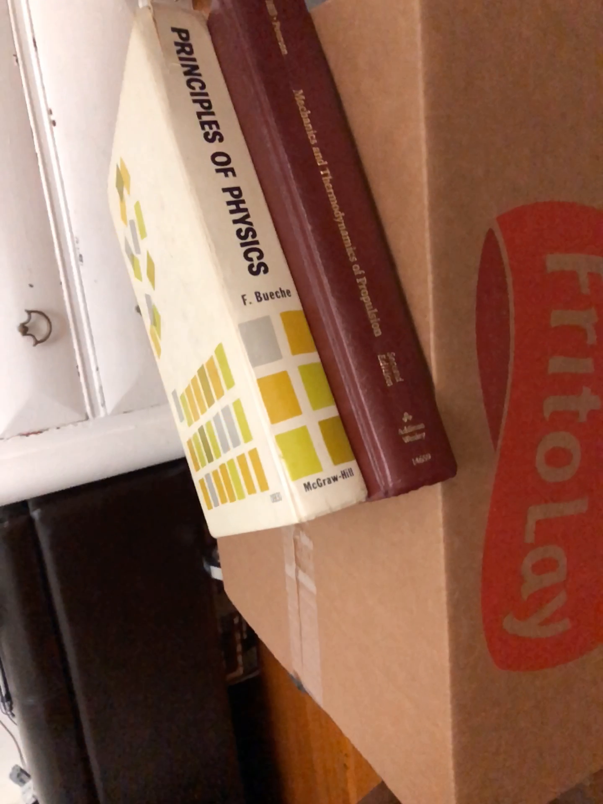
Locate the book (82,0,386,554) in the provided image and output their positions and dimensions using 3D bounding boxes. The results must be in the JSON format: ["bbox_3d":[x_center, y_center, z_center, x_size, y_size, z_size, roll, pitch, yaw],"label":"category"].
[{"bbox_3d":[-0.057,-0.046,0.368,0.181,0.040,0.250,-32,76,63],"label":"book"}]

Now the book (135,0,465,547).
[{"bbox_3d":[-0.021,-0.048,0.369,0.181,0.040,0.250,-25,82,64],"label":"book"}]
